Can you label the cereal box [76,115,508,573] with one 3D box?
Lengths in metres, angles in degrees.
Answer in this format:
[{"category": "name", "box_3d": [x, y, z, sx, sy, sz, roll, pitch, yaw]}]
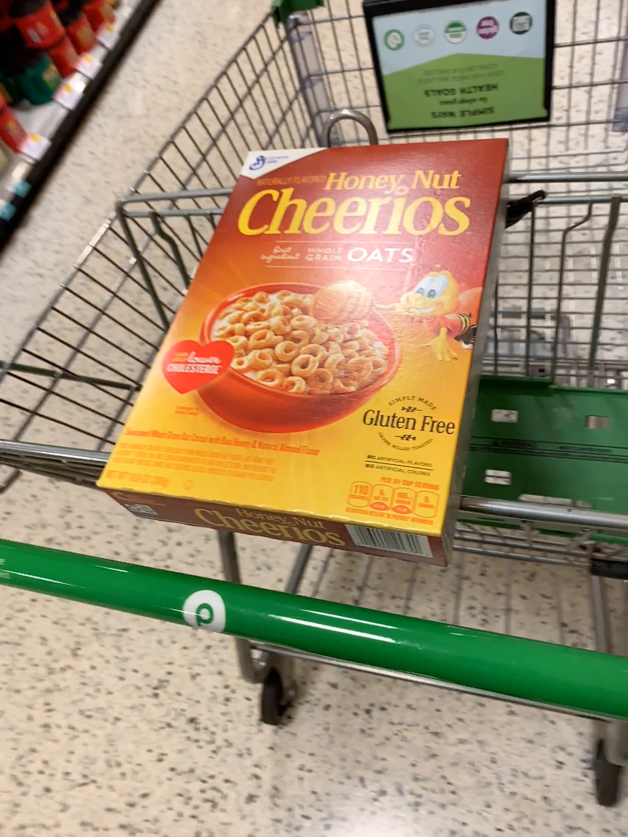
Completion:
[{"category": "cereal box", "box_3d": [0.005, -0.068, 0.416, 0.200, 0.060, 0.292, 5, 61, 20]}]
